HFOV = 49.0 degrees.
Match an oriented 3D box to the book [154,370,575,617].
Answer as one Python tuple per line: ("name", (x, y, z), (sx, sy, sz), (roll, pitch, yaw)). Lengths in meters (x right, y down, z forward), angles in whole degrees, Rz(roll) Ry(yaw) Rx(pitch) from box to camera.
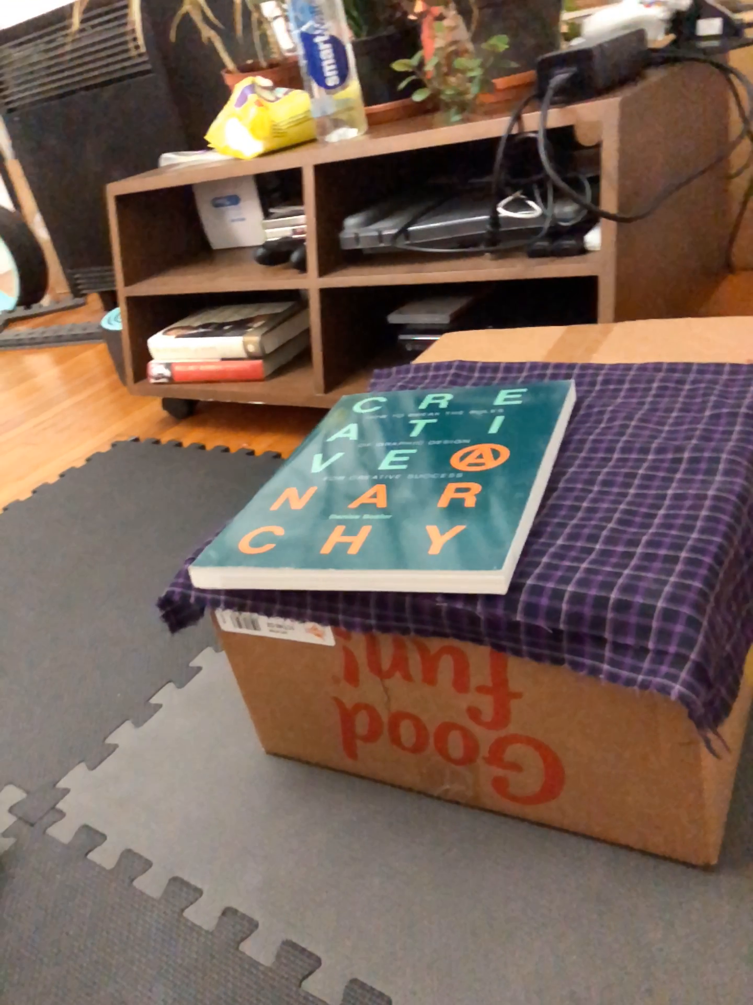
("book", (0.013, -0.021, 0.602), (0.220, 0.020, 0.301), (-1, 30, 23))
